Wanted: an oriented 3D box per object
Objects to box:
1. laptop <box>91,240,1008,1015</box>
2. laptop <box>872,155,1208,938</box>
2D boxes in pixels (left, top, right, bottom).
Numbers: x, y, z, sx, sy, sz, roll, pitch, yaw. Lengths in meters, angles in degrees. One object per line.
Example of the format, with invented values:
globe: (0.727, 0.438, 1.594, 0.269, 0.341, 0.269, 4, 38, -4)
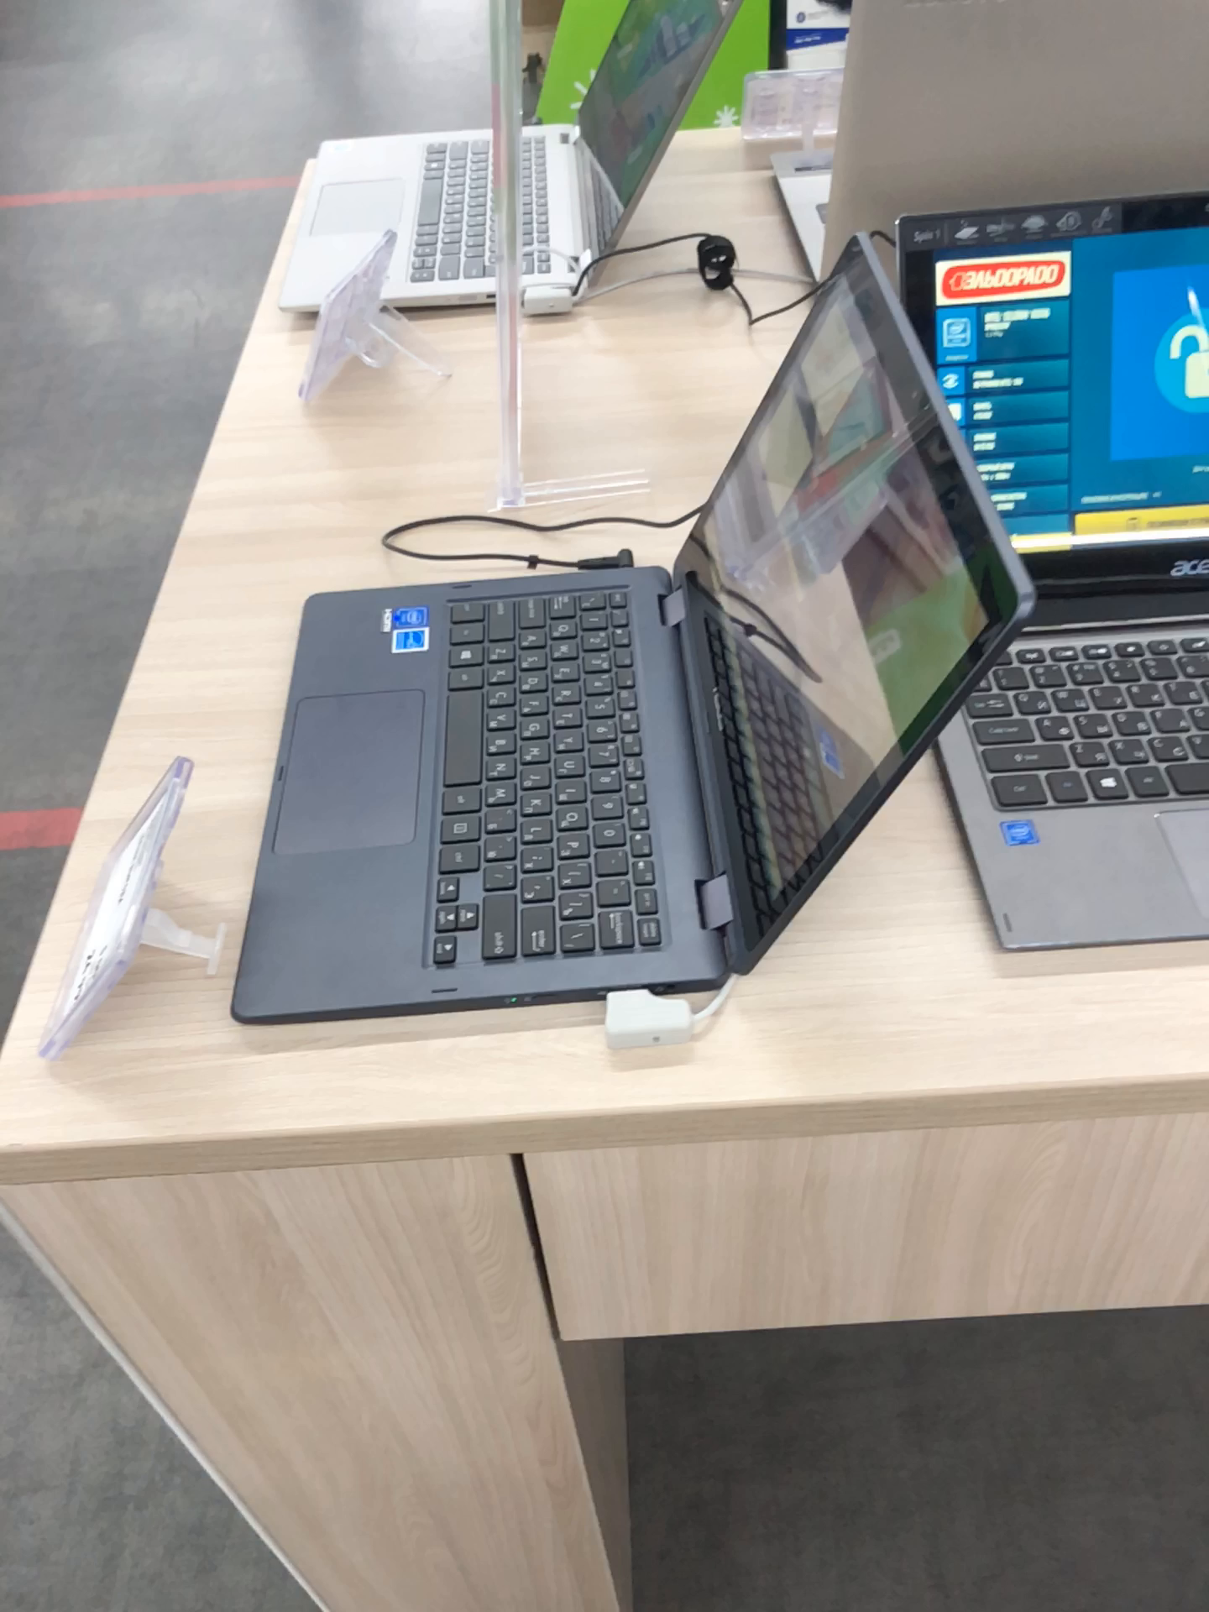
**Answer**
laptop: (-0.018, -0.084, 0.558, 0.280, 0.166, 0.271, -5, 46, 1)
laptop: (0.276, -0.121, 0.561, 0.261, 0.162, 0.300, -4, 46, 2)
